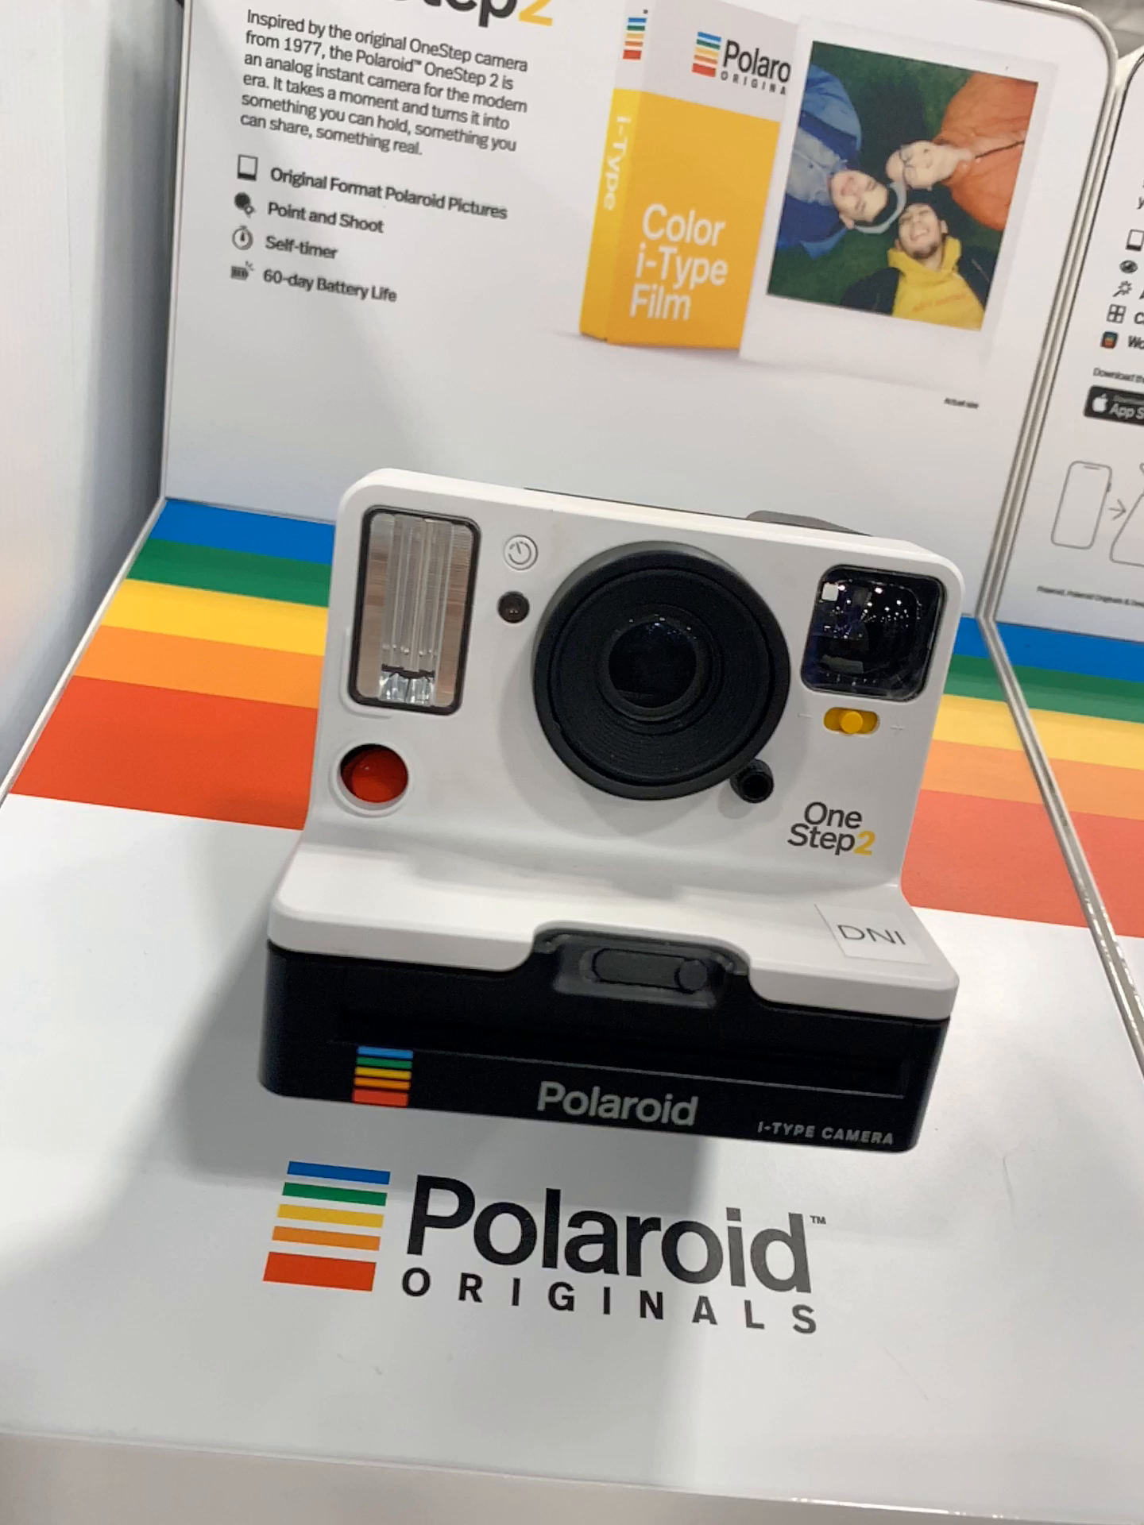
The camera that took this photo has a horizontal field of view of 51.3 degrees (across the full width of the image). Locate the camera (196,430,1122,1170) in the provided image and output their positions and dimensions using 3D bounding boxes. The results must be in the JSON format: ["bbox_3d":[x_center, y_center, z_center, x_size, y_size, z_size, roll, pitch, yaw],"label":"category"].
[{"bbox_3d":[0.006,-0.008,0.240,0.120,0.090,0.145,8,18,-5],"label":"camera"}]
